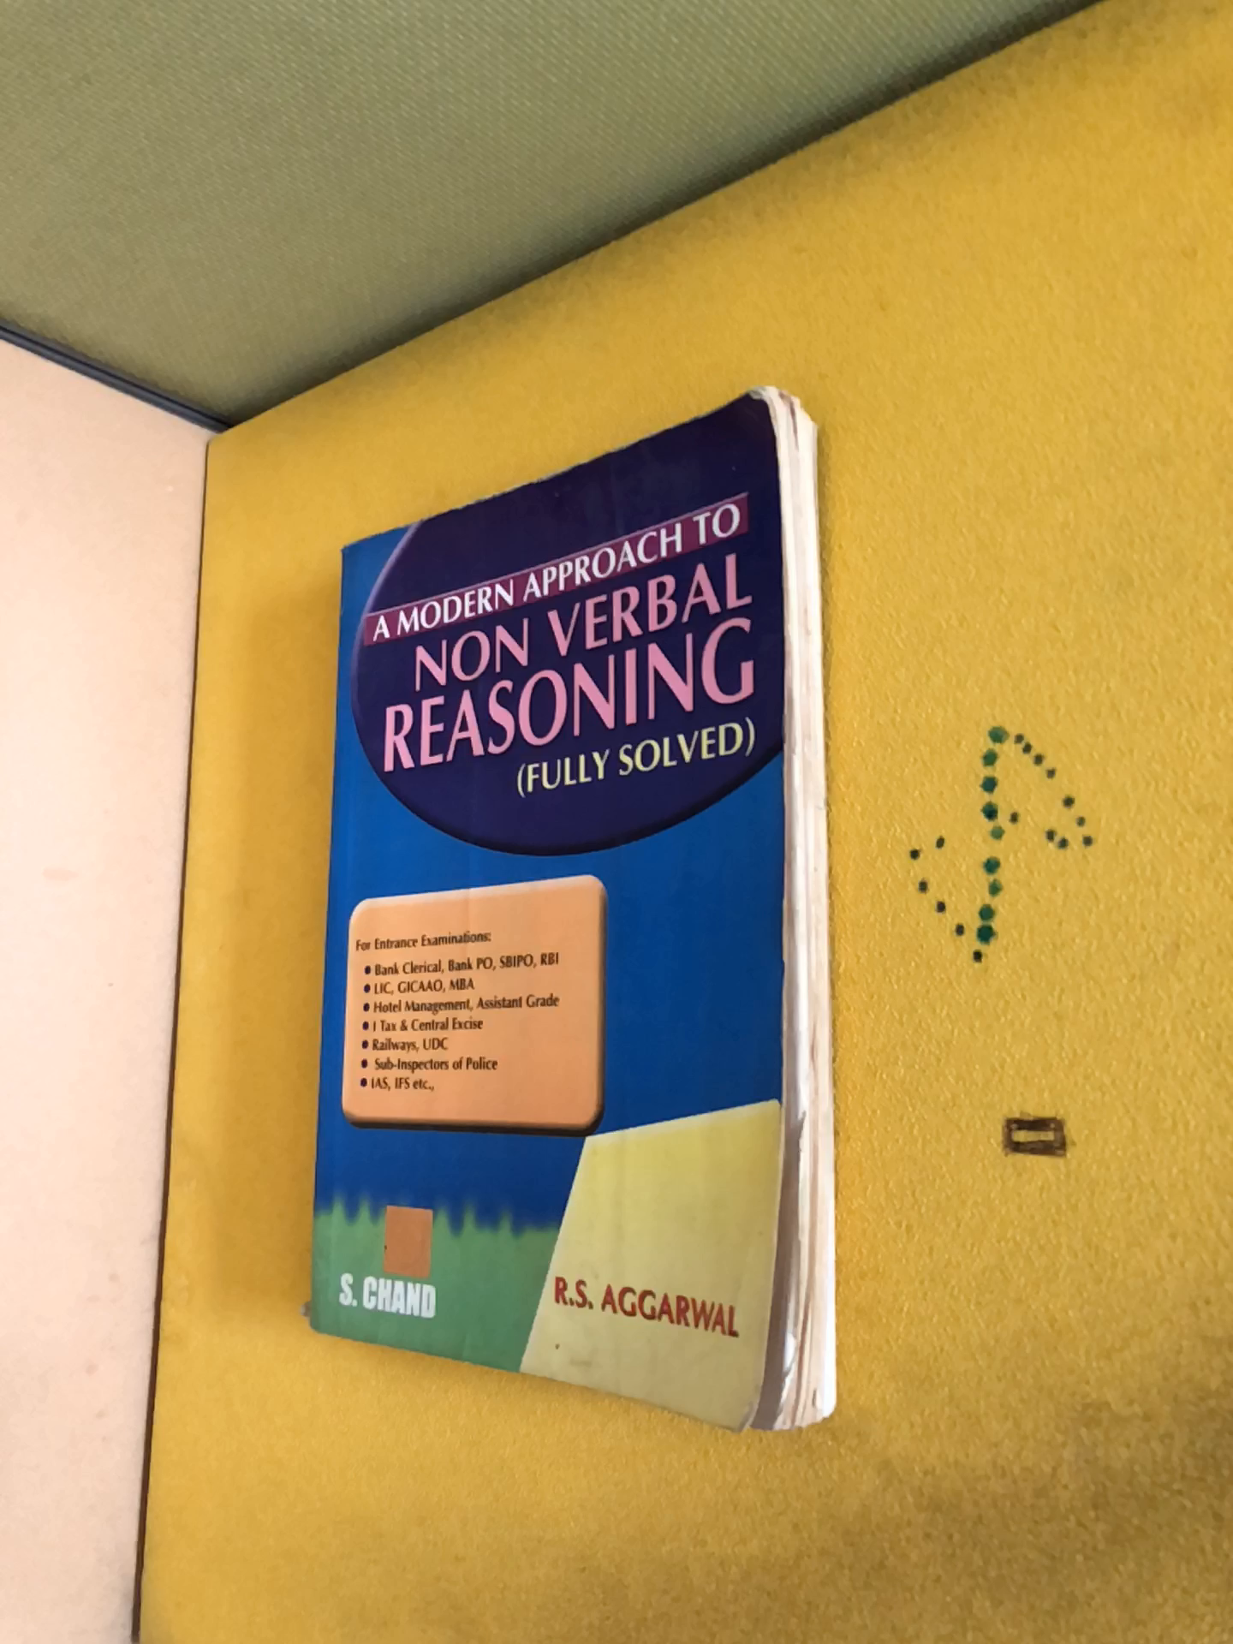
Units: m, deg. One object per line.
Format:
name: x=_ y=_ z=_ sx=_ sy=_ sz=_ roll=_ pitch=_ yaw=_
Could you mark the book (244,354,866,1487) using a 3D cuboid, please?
book: x=-0.023 y=0.024 z=0.356 sx=0.171 sy=0.040 sz=0.240 roll=-8 pitch=76 yaw=39
